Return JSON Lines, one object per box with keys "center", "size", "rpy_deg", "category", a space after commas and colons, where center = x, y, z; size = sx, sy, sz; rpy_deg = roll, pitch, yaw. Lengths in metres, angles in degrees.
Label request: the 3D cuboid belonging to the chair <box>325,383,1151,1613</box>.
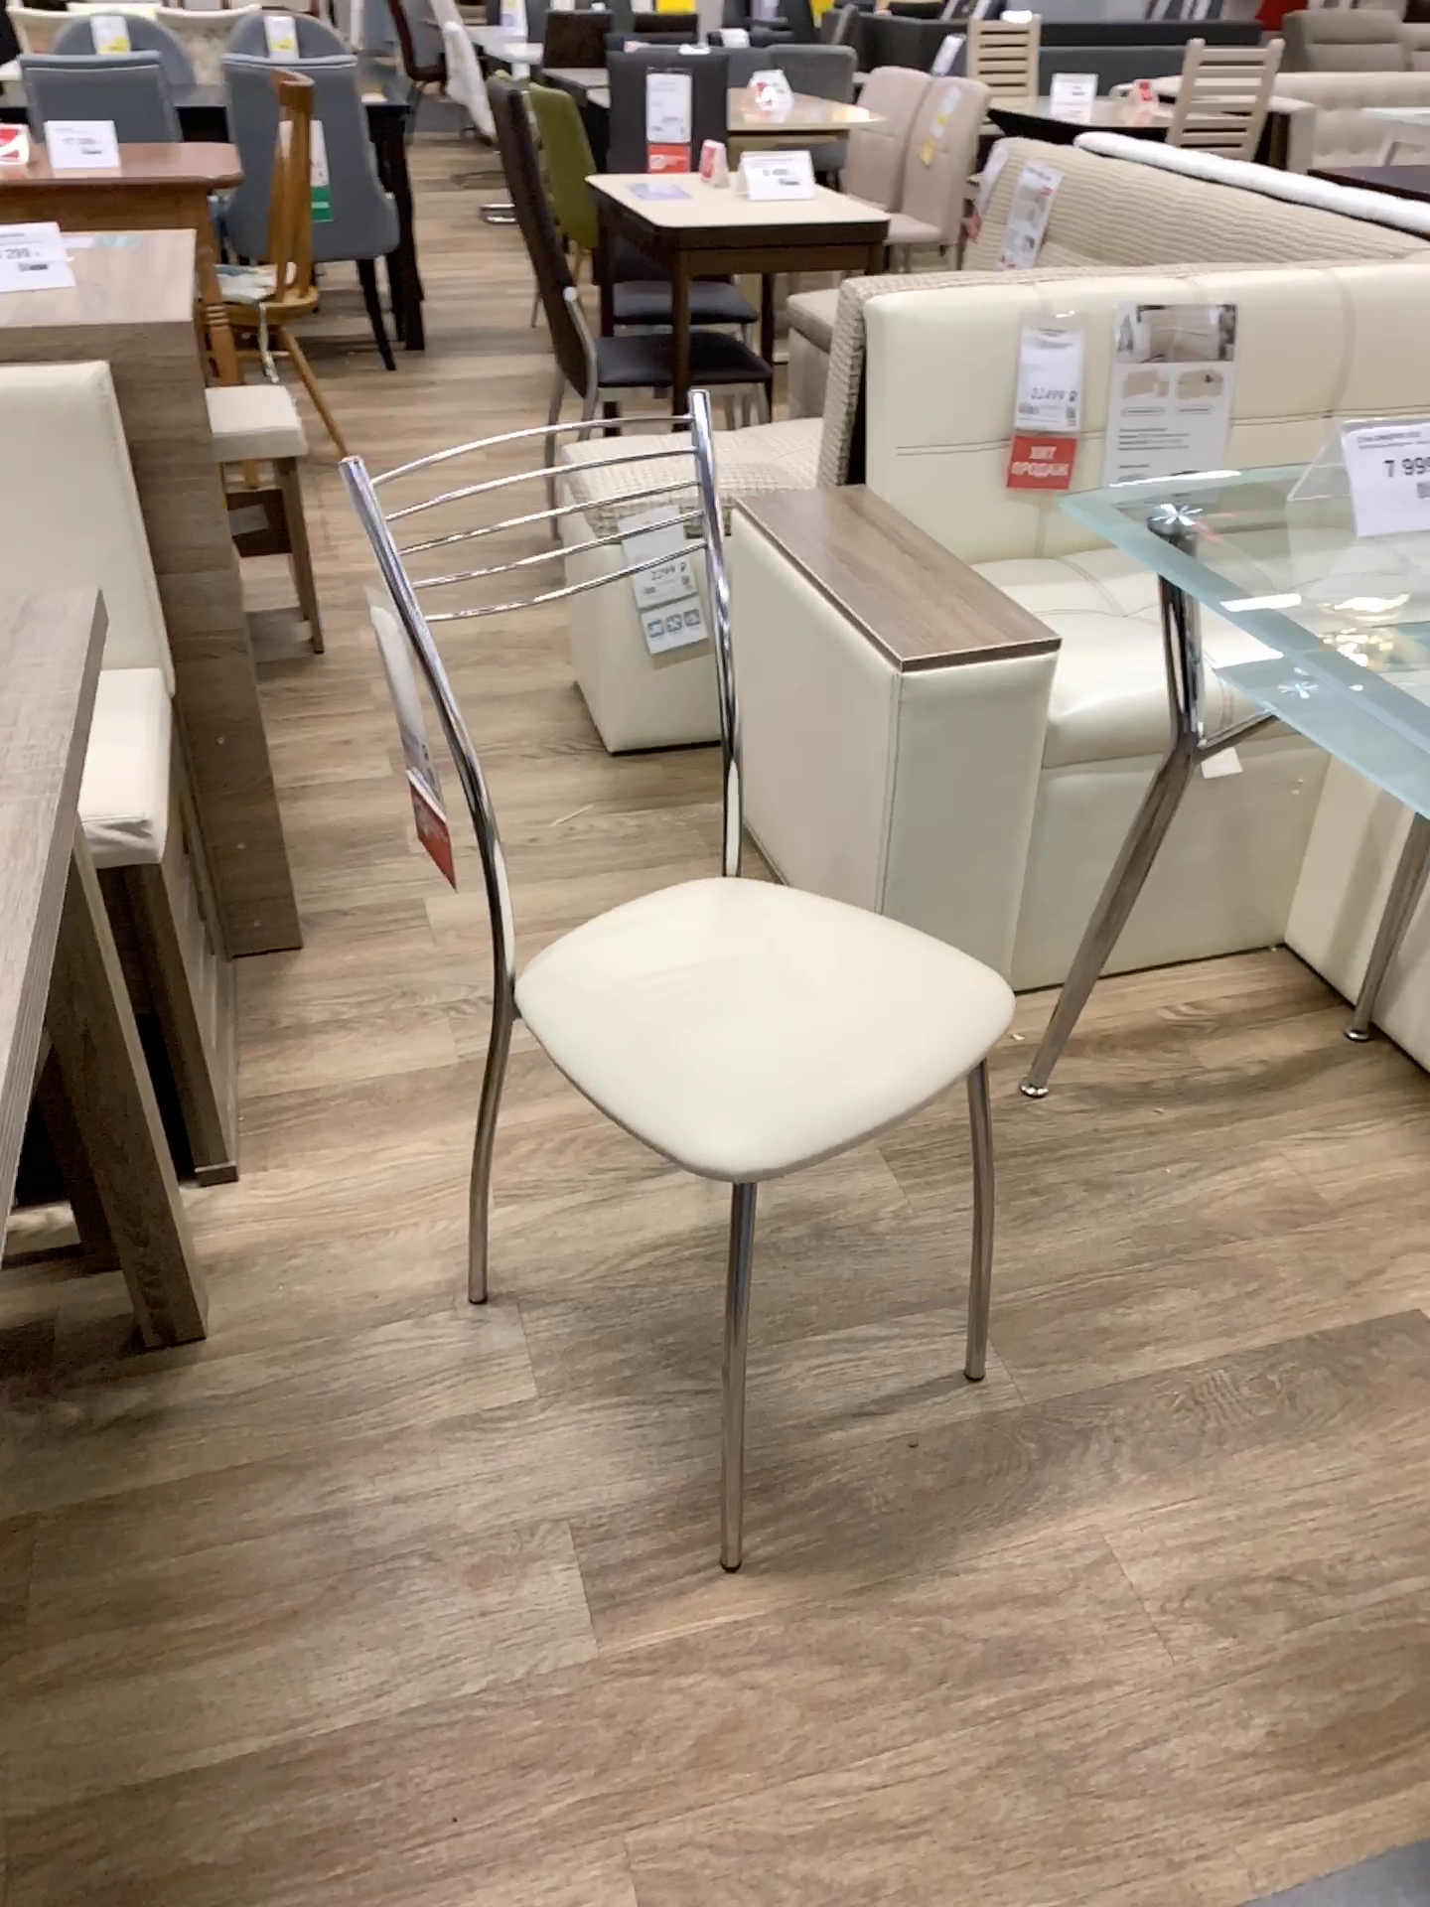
{"center": [-0.001, 0.044, 1.377], "size": [0.414, 0.966, 0.481], "rpy_deg": [-25, 42, -33], "category": "chair"}
